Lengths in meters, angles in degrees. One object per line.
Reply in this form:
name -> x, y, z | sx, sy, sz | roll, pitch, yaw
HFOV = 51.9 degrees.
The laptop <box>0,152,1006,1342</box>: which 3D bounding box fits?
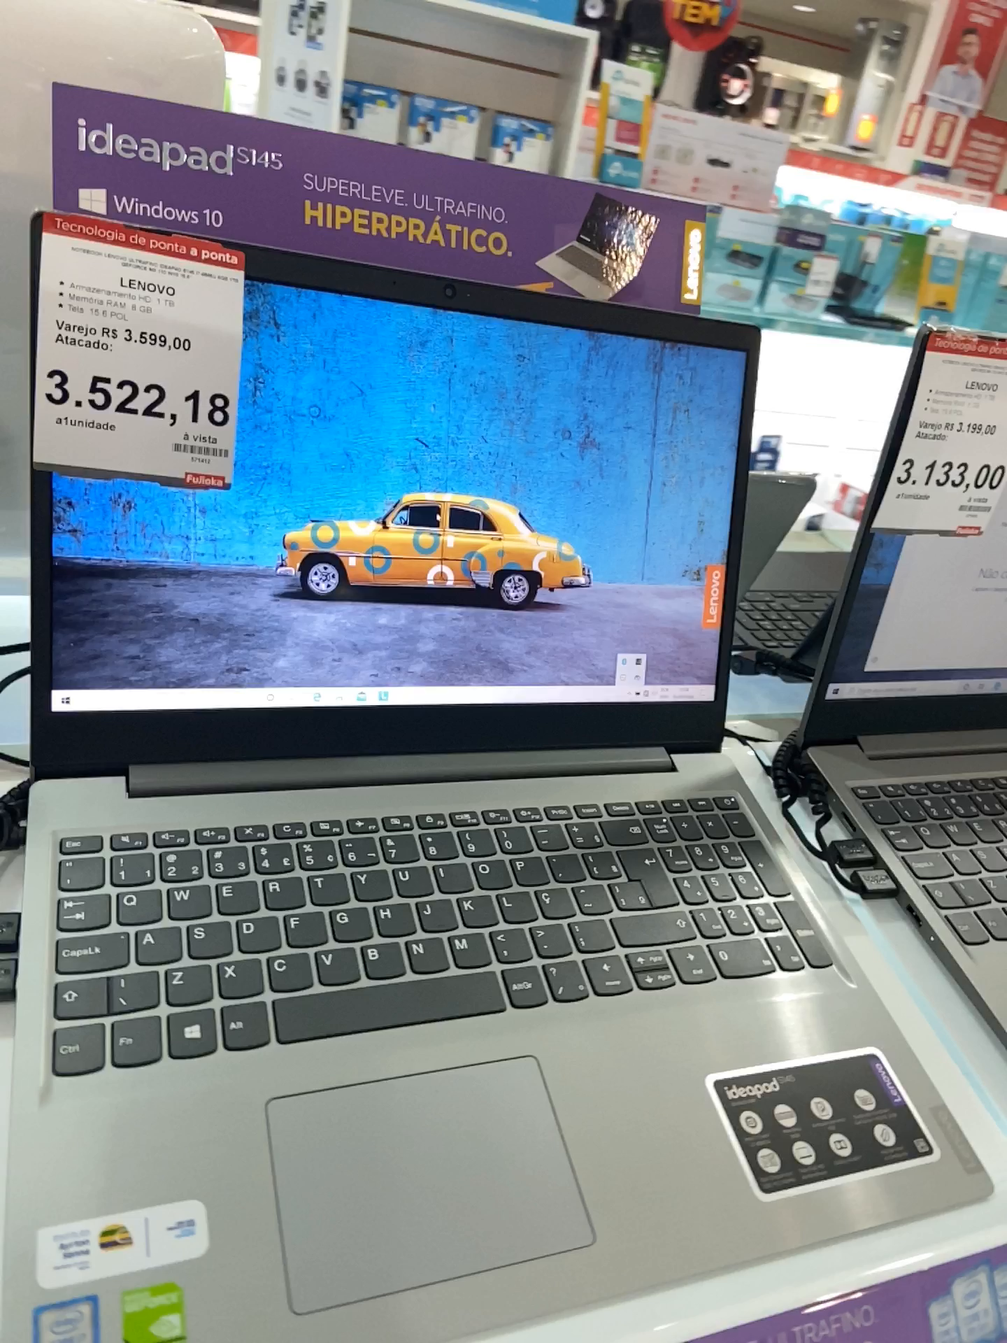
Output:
laptop -> -0.004, -0.010, 0.415 | 0.347, 0.209, 0.366 | 0, 37, -21
